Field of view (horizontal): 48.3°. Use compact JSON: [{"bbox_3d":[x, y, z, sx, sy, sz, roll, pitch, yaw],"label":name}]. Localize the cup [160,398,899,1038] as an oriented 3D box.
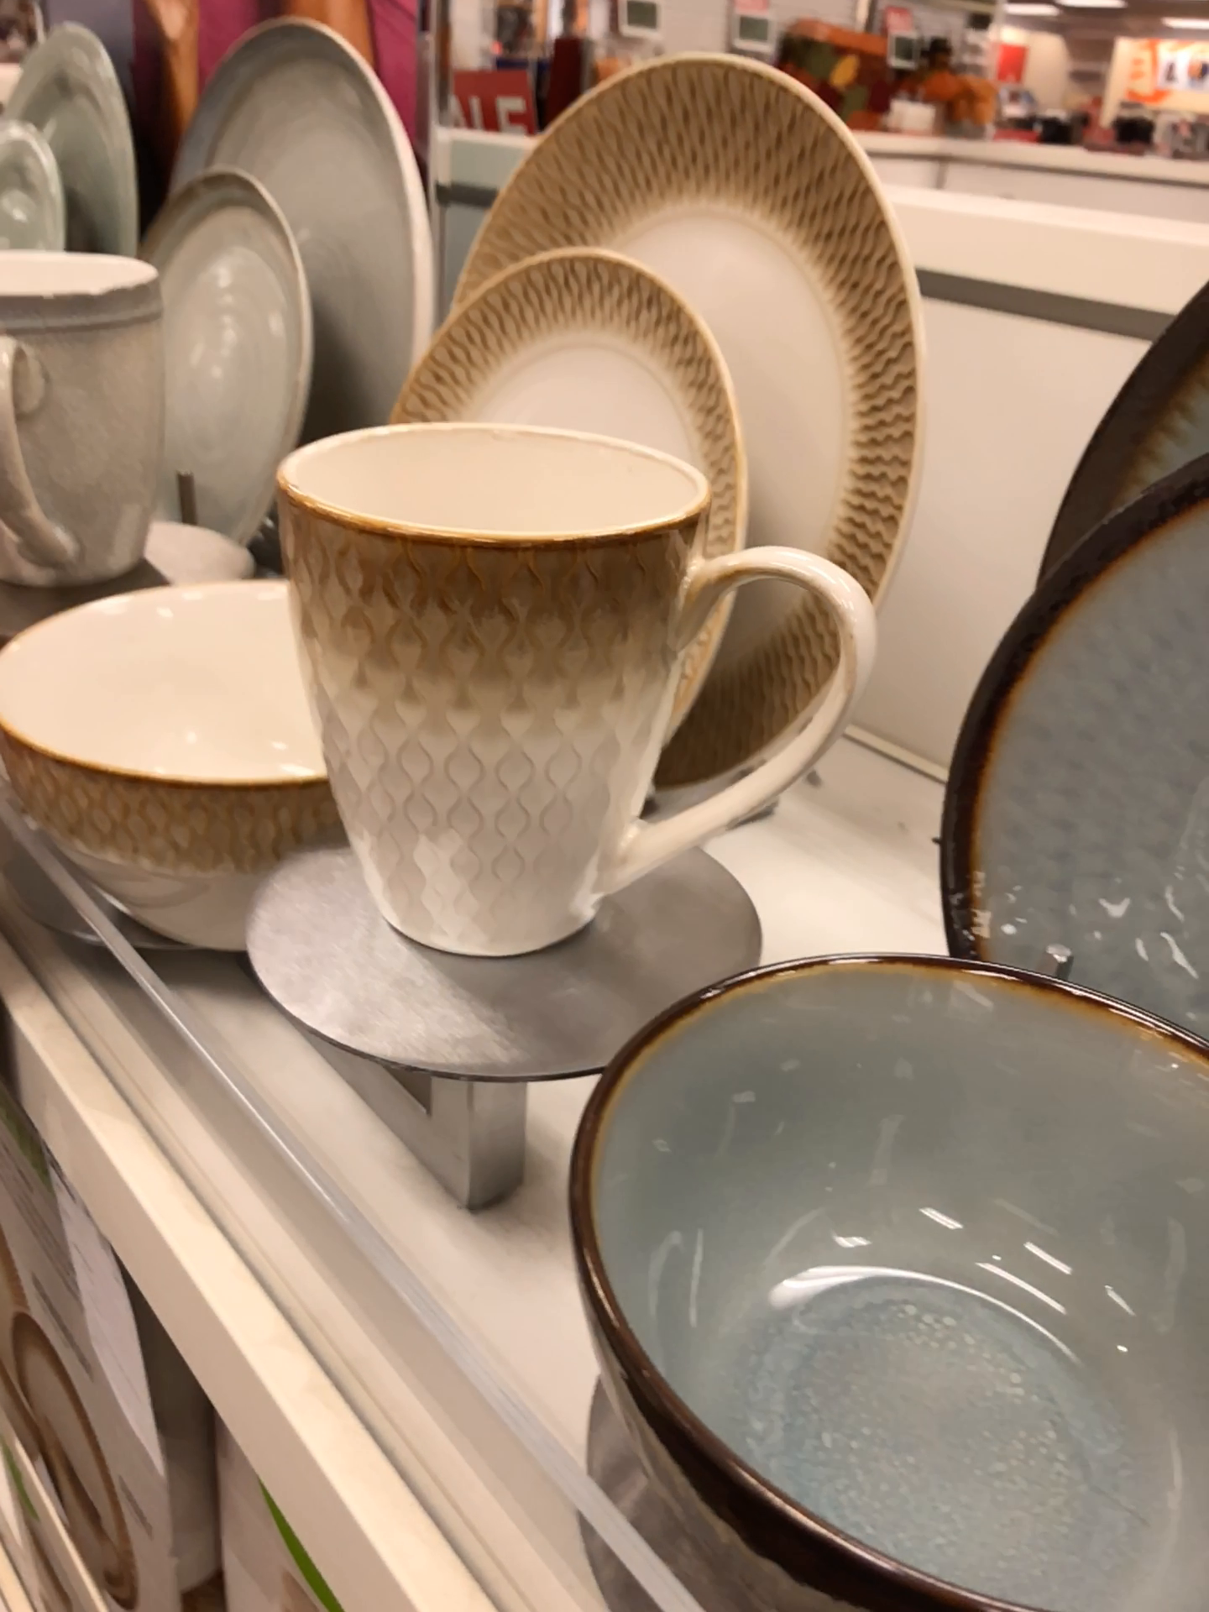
[{"bbox_3d":[-0.010,-0.027,0.296,0.128,0.089,0.100,10,28,10],"label":"cup"}]
